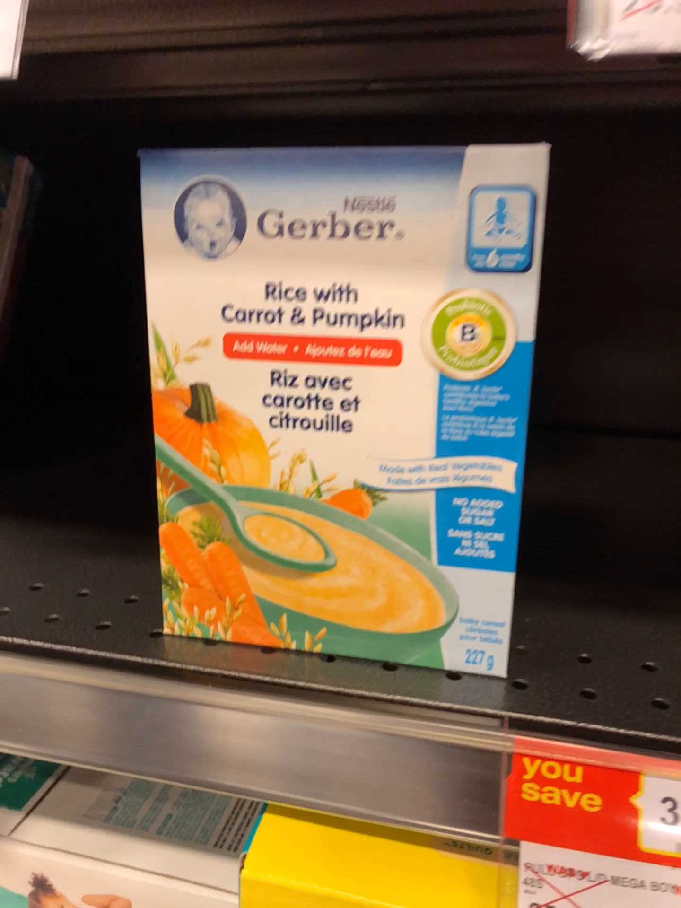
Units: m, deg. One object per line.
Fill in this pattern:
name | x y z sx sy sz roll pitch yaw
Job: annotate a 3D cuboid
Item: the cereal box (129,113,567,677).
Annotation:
cereal box | 0.002 -0.021 0.300 0.150 0.199 0.040 4 16 12
